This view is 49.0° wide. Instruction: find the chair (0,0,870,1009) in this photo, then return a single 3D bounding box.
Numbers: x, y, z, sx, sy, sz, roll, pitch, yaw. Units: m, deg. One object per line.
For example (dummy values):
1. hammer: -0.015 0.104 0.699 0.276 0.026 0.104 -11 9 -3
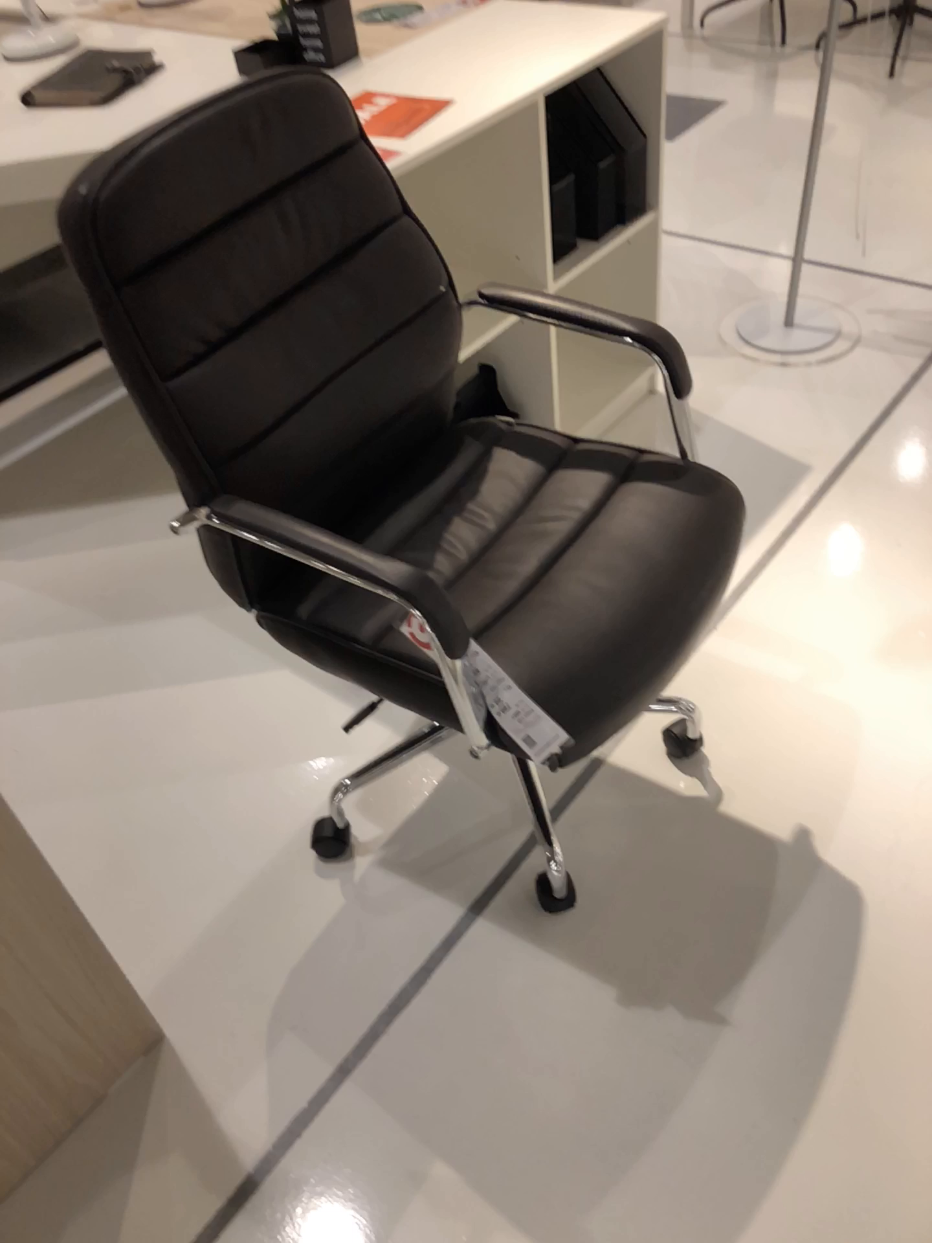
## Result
1. chair: 0.017 -0.162 1.257 0.571 0.973 0.653 22 51 28
